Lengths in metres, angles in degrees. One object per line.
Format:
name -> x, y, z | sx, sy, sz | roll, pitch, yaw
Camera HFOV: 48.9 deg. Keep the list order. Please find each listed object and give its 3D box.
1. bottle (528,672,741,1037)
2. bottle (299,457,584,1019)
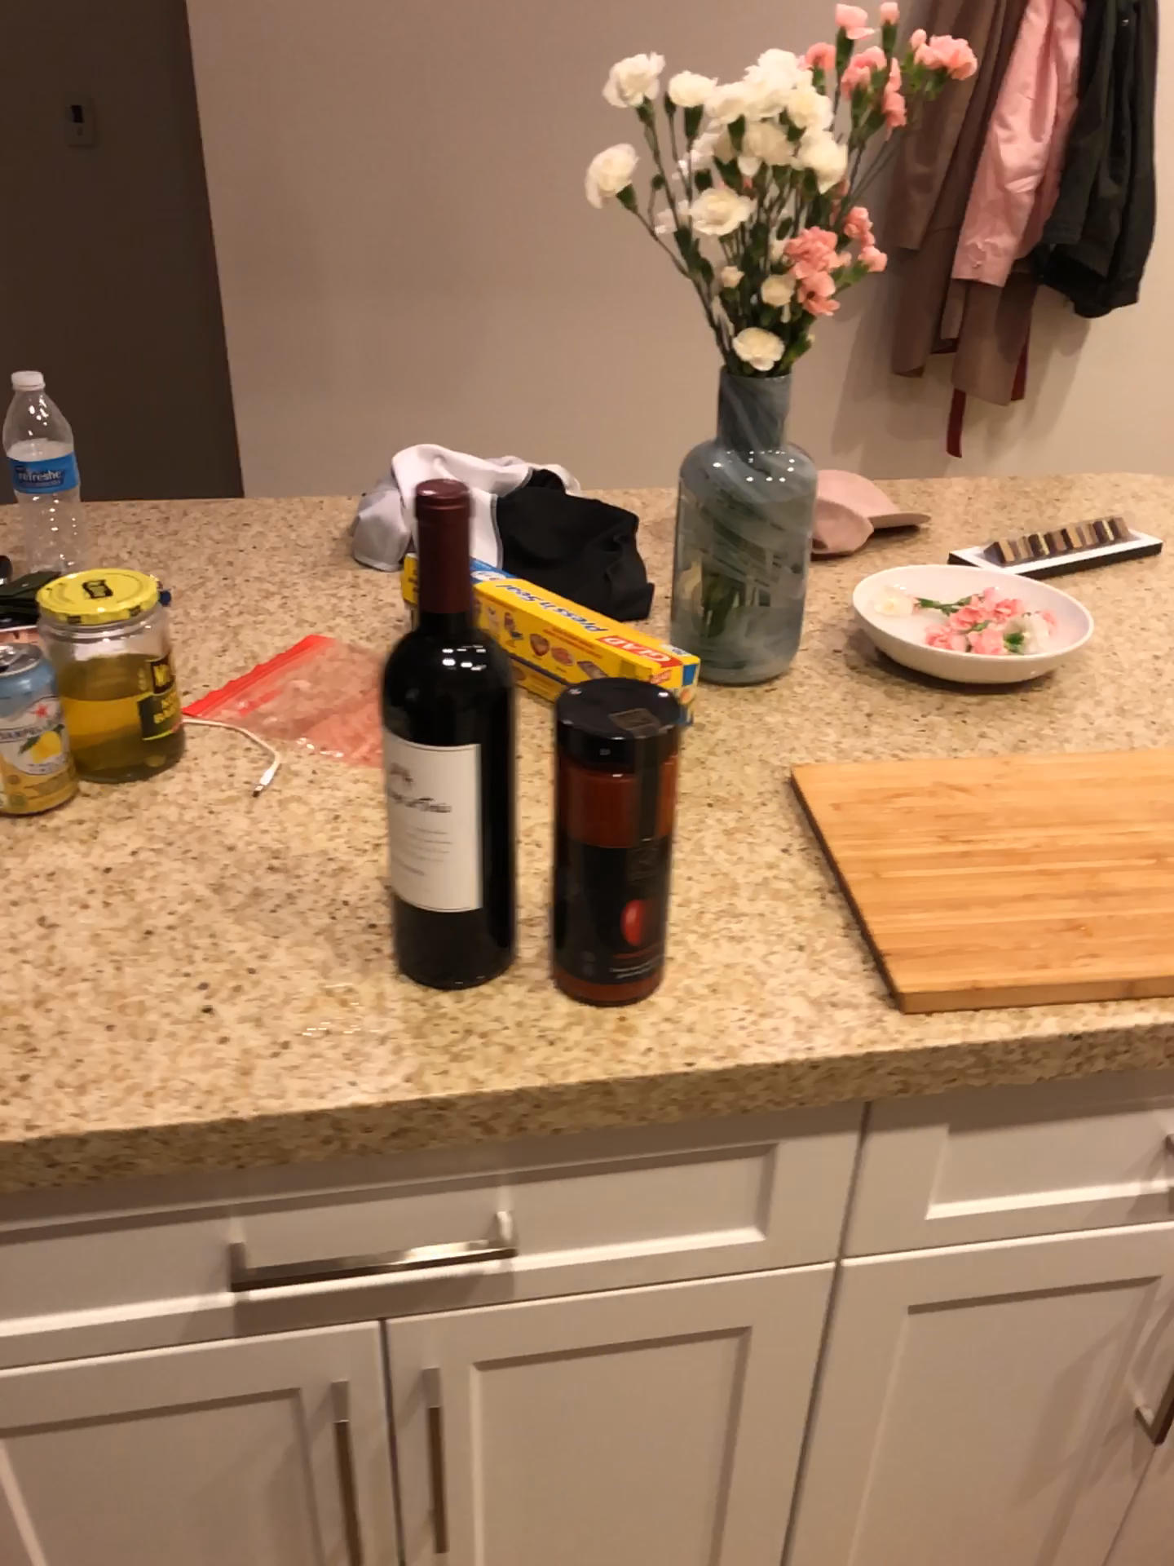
bottle -> 0.022, 0.041, 0.754 | 0.090, 0.179, 0.090 | 1, 30, -1
bottle -> -0.079, -0.025, 0.728 | 0.110, 0.278, 0.110 | 1, 30, -1
